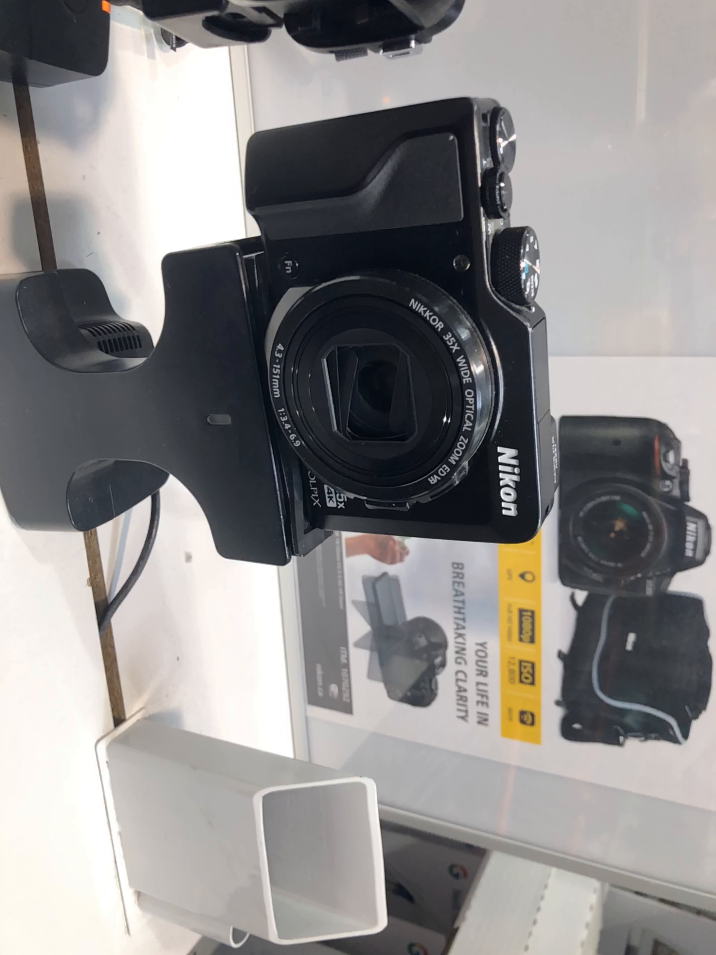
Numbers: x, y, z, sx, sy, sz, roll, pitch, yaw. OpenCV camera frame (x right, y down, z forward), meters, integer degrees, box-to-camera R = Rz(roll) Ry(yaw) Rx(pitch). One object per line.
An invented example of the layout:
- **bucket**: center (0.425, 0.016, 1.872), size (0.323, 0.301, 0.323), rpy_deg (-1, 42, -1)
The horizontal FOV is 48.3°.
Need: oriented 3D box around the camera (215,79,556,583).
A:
- **camera**: center (0.014, -0.037, 0.212), size (0.044, 0.069, 0.117), rpy_deg (-52, 140, -57)
